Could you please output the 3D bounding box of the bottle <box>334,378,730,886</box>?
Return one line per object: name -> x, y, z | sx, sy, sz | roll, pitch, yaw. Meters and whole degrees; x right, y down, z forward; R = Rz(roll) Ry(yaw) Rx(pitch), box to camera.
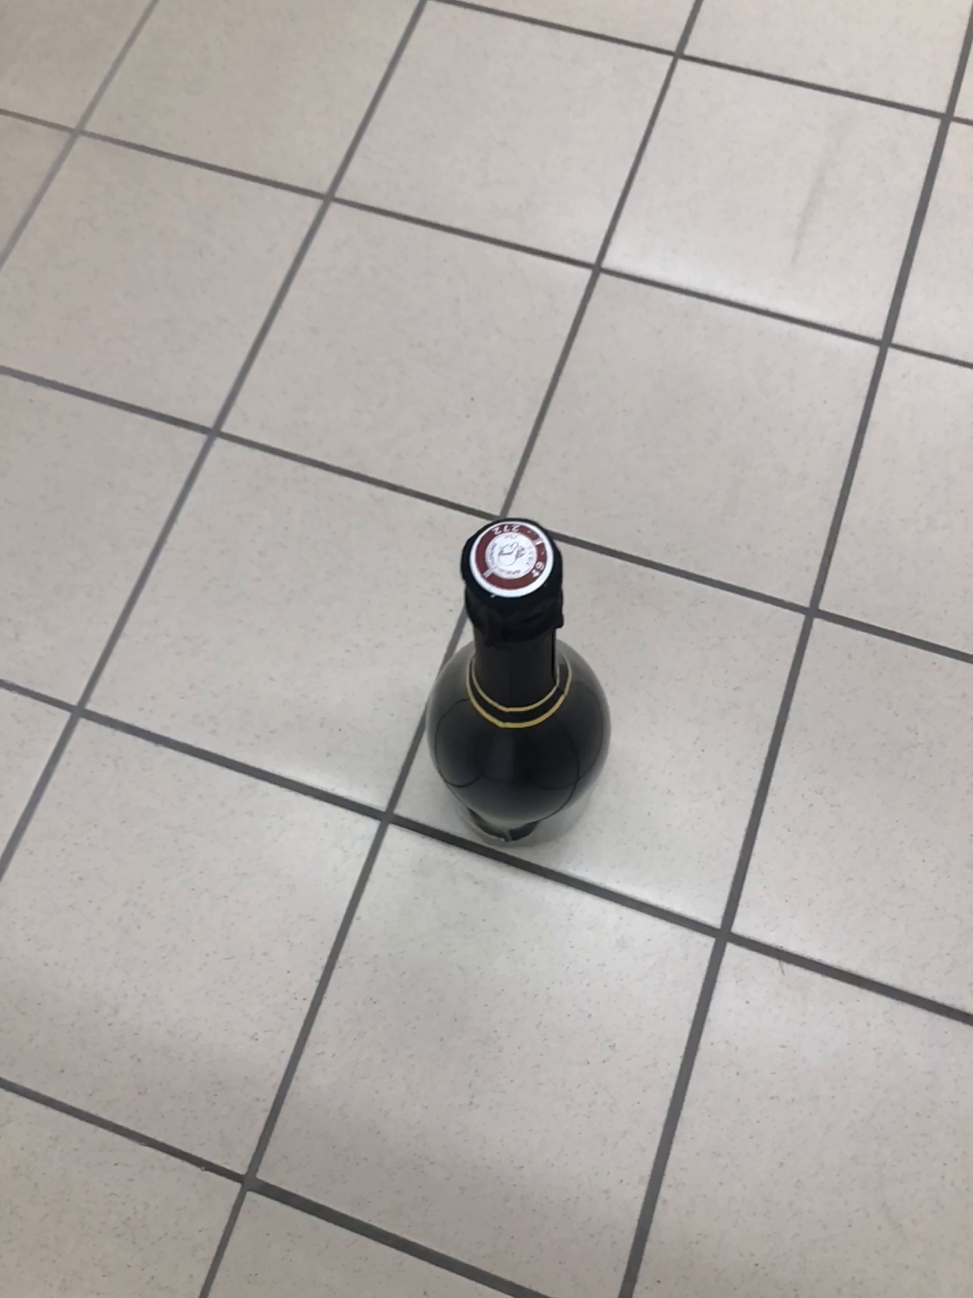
bottle -> 0.018, 0.022, 0.475 | 0.090, 0.309, 0.090 | -1, 70, 2
